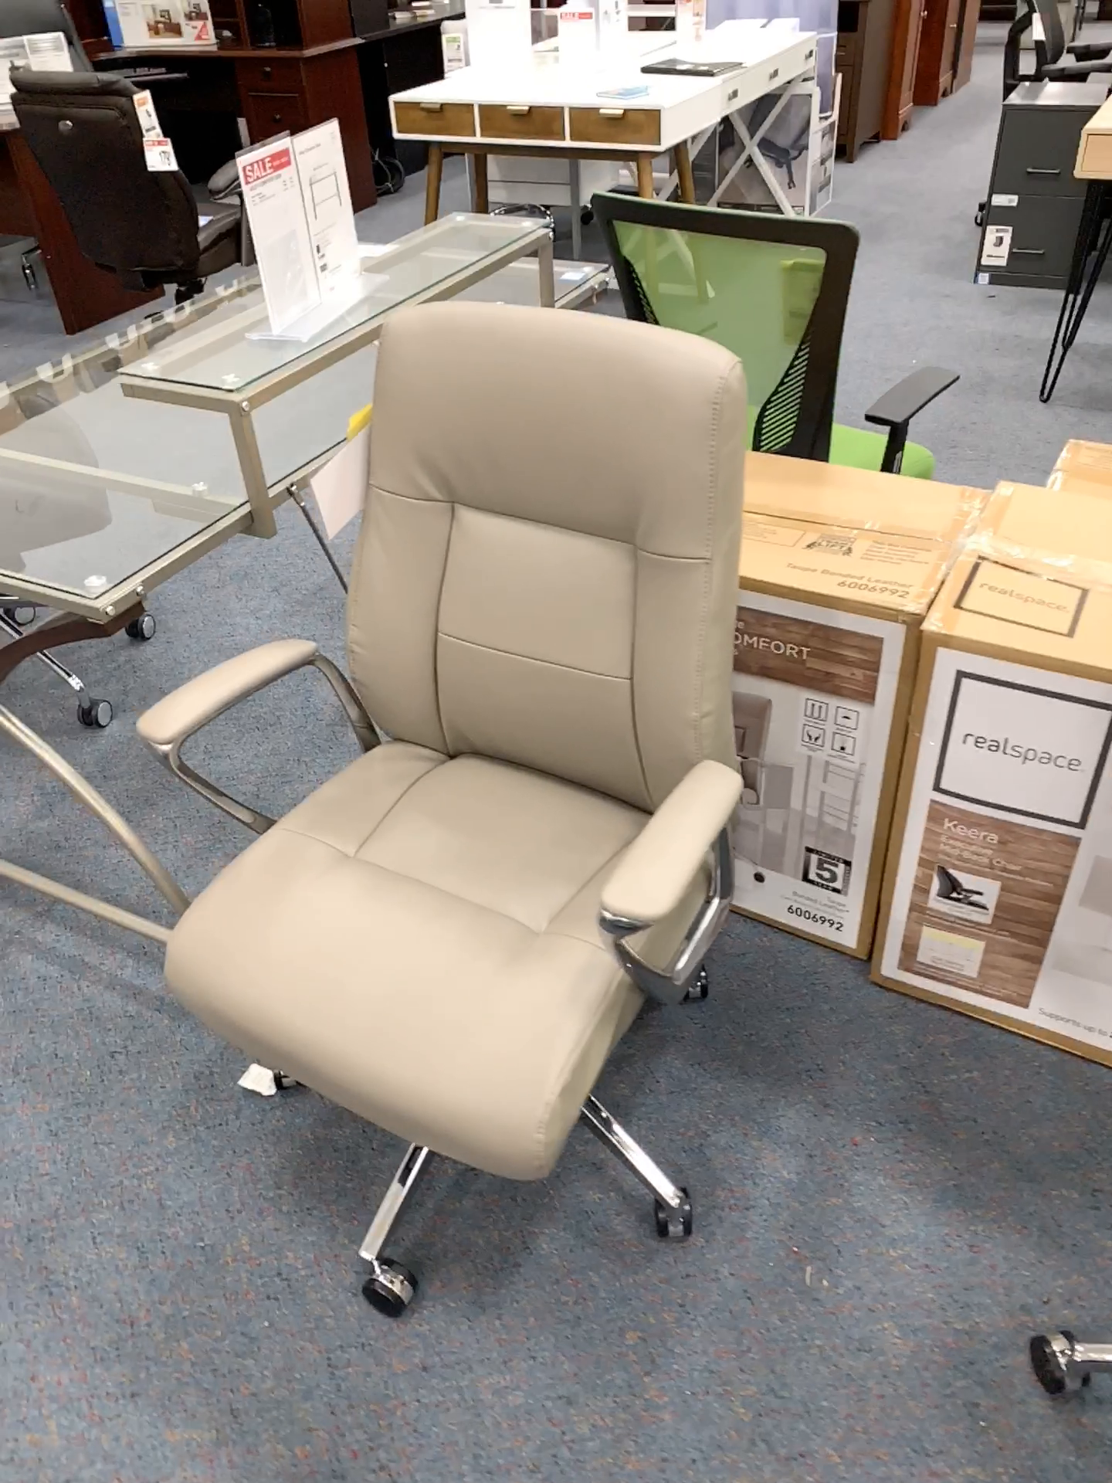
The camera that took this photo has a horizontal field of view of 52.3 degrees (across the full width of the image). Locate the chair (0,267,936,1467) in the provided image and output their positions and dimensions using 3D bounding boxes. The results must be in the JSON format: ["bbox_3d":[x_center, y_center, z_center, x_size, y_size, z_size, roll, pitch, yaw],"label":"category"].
[{"bbox_3d":[-0.094,0.095,1.265,0.693,0.956,0.676,18,43,26],"label":"chair"}]

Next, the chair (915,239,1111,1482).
[{"bbox_3d":[0.874,0.299,0.886,0.811,1.055,0.818,-3,38,1],"label":"chair"}]

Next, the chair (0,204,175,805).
[{"bbox_3d":[-1.294,-0.500,2.286,0.754,0.856,0.765,-9,38,-6],"label":"chair"}]
